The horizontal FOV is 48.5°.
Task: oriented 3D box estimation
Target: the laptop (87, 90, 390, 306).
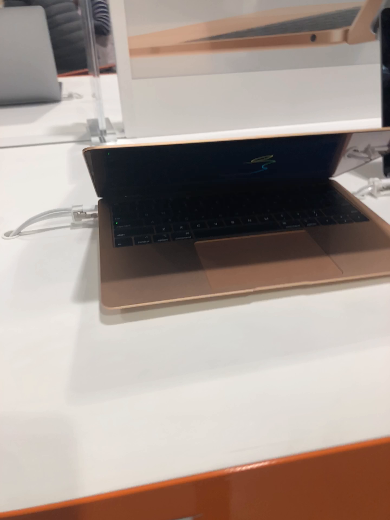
[{"bbox_3d":[0.053,-0.080,0.422,0.295,0.106,0.200,-7,33,-10],"label":"laptop"}]
